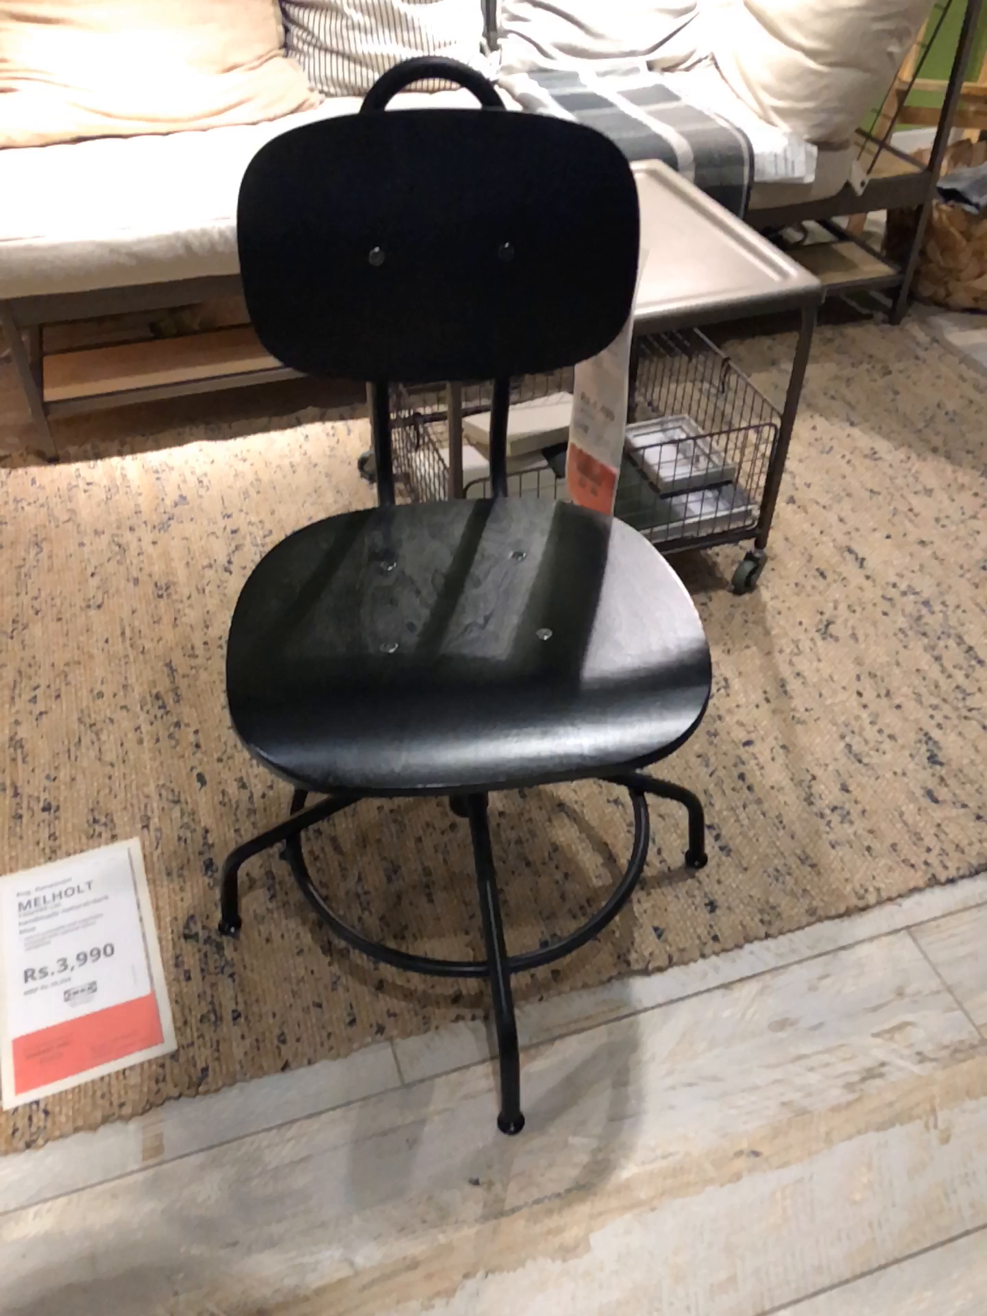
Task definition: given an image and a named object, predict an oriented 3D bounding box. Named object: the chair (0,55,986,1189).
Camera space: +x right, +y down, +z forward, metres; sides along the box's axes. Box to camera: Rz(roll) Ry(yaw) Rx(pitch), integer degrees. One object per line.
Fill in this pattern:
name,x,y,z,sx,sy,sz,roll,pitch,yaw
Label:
chair,-0.029,-0.023,0.965,0.590,0.765,0.584,-6,43,-5
